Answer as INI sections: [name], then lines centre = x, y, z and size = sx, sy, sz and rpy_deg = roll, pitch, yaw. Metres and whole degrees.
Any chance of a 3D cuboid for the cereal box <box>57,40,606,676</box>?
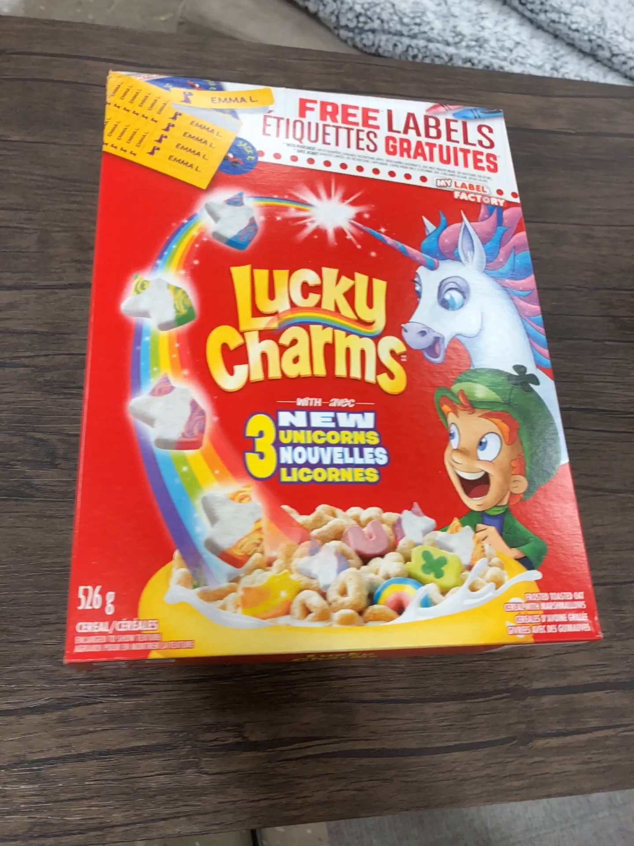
[cereal box]
centre = -0.002, -0.044, 0.388
size = 0.230, 0.080, 0.330
rpy_deg = 1, 68, -10
